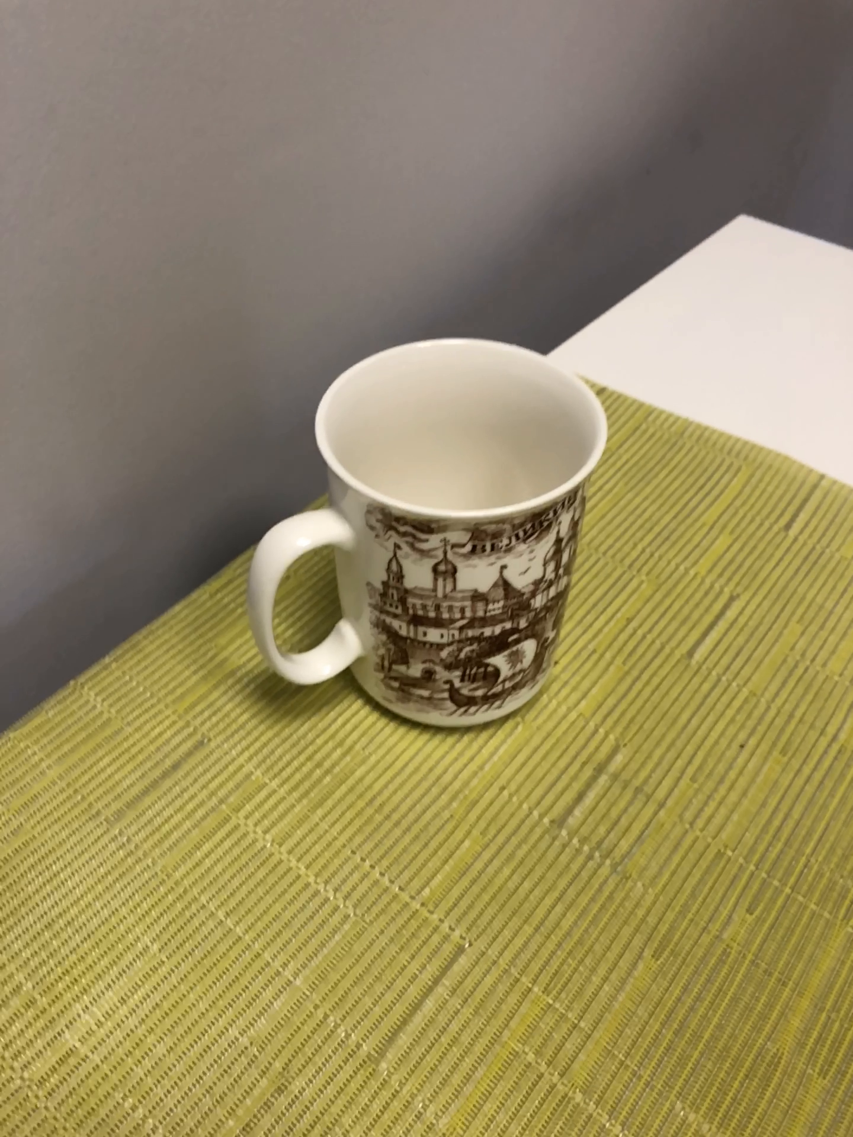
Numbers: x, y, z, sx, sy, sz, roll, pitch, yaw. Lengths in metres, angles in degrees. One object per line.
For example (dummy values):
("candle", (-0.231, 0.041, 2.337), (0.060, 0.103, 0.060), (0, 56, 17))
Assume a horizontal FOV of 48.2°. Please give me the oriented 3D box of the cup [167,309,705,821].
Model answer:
("cup", (-0.001, -0.006, 0.304), (0.124, 0.092, 0.095), (-19, 48, -20))
